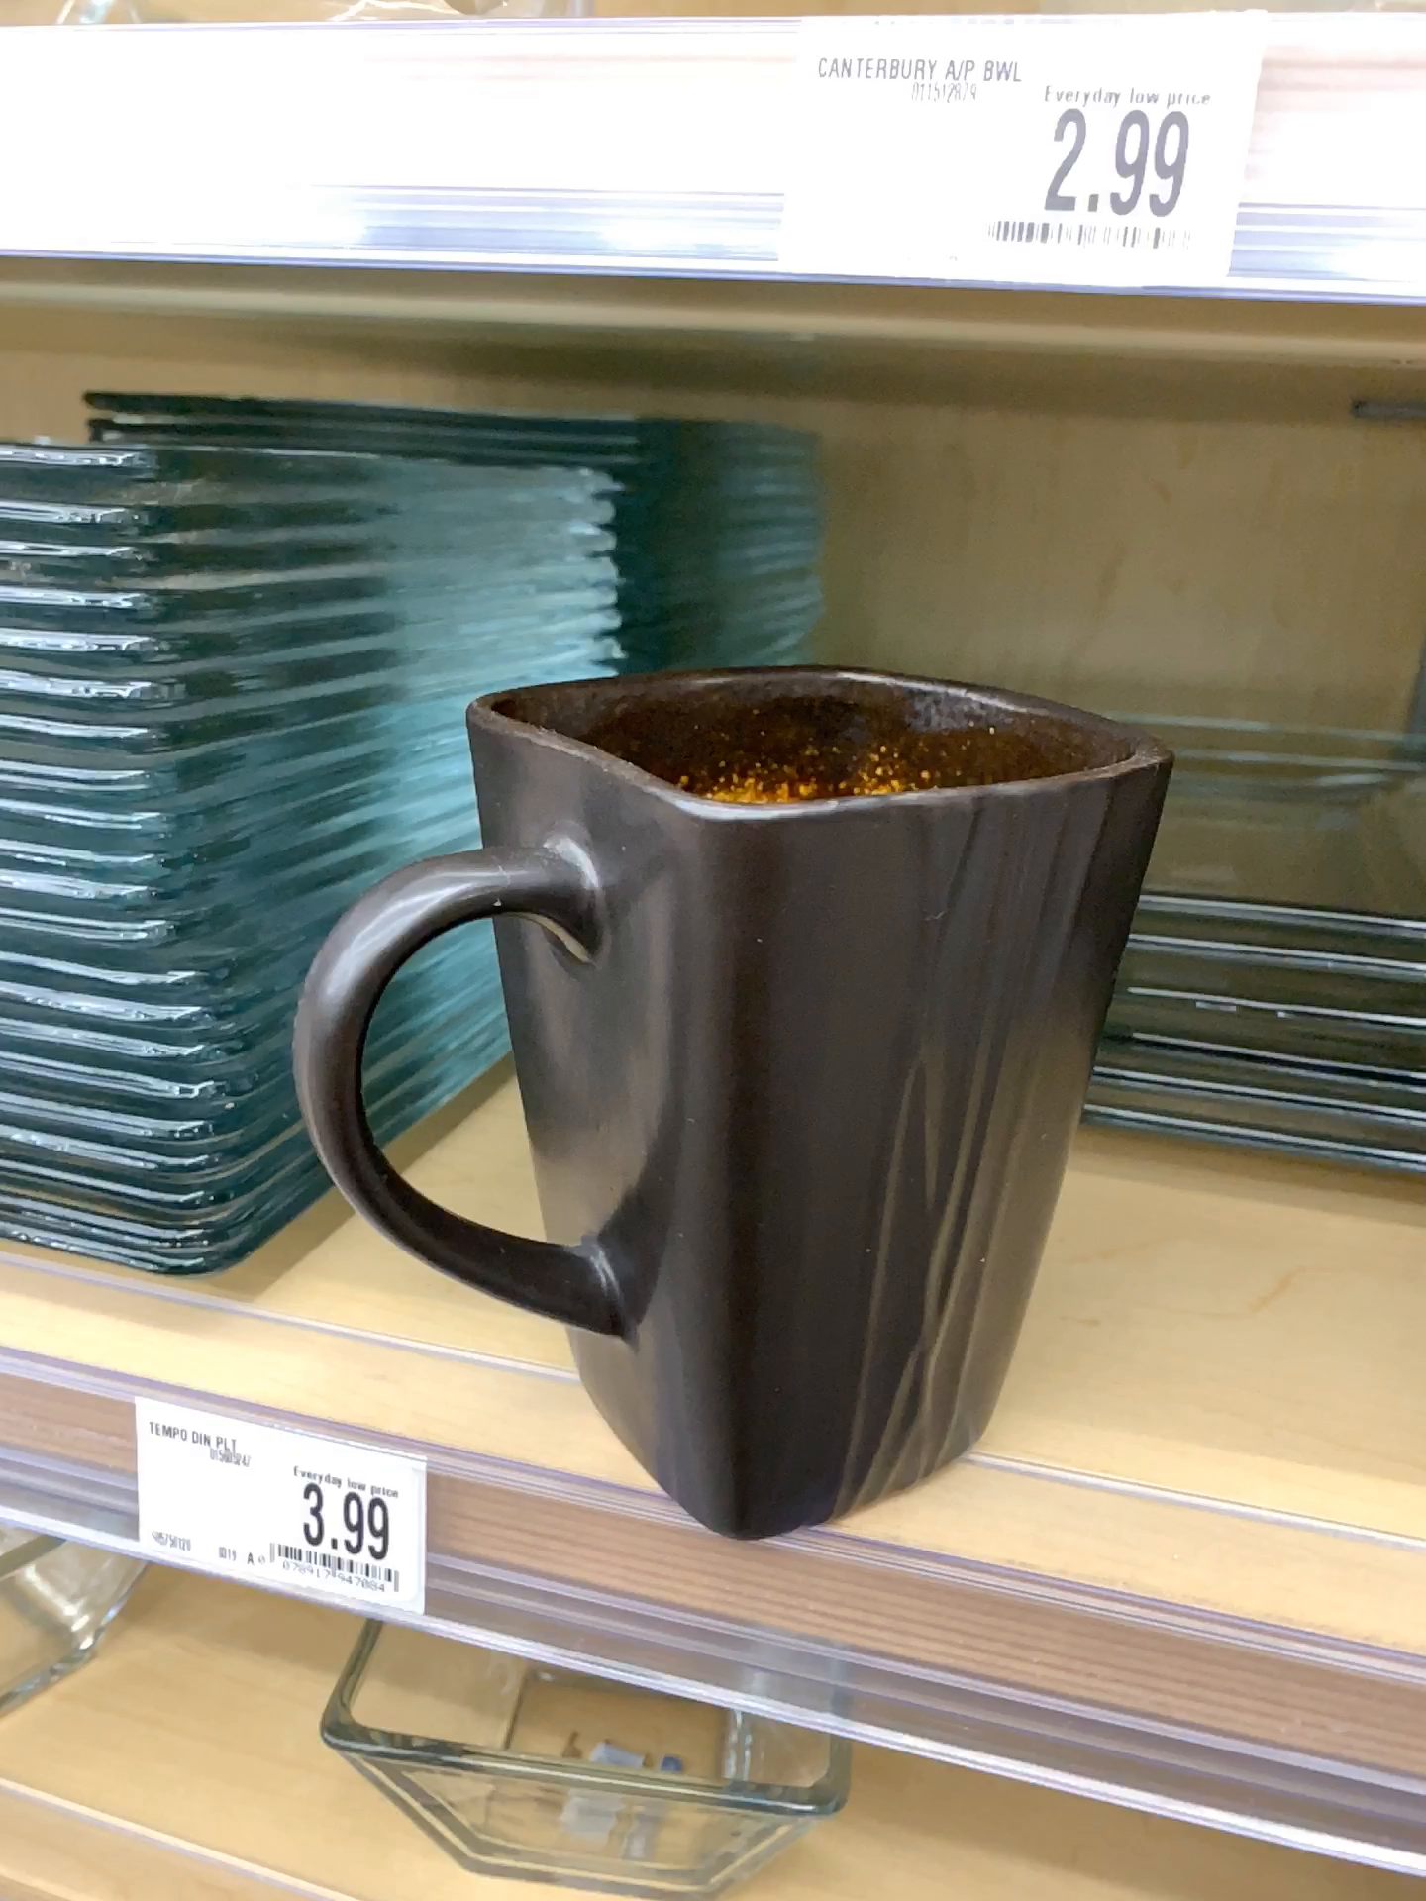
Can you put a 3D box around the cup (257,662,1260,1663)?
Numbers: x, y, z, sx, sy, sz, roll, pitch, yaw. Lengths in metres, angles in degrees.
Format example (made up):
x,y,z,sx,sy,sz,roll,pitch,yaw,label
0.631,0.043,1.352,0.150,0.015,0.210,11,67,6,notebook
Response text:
x,y,z,sx,sy,sz,roll,pitch,yaw,label
0.002,0.015,0.220,0.107,0.099,0.088,-9,22,-36,cup
